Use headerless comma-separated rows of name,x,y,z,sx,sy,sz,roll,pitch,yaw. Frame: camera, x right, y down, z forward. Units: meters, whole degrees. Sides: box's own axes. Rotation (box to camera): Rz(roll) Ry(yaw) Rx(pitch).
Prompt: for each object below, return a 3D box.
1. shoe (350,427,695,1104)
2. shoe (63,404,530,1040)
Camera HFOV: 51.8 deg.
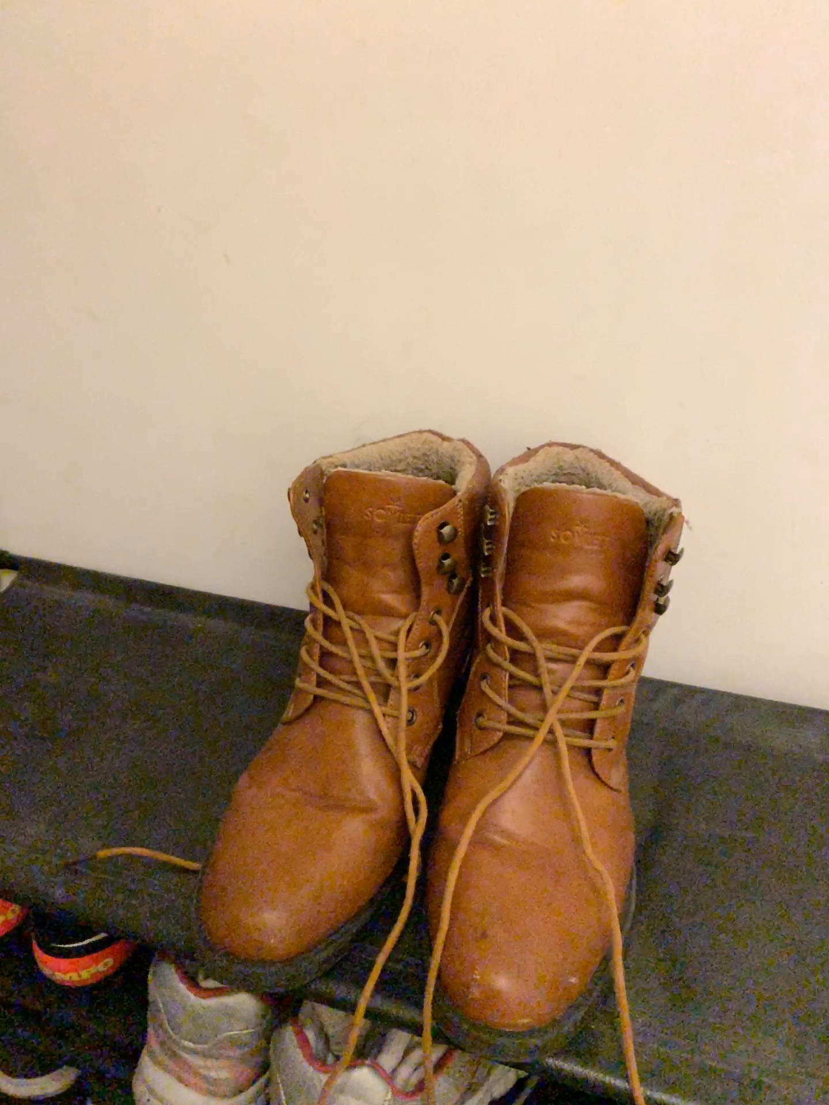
shoe,0.066,0.083,0.422,0.110,0.198,0.242,8,33,14
shoe,-0.033,0.067,0.476,0.110,0.198,0.272,12,34,20
